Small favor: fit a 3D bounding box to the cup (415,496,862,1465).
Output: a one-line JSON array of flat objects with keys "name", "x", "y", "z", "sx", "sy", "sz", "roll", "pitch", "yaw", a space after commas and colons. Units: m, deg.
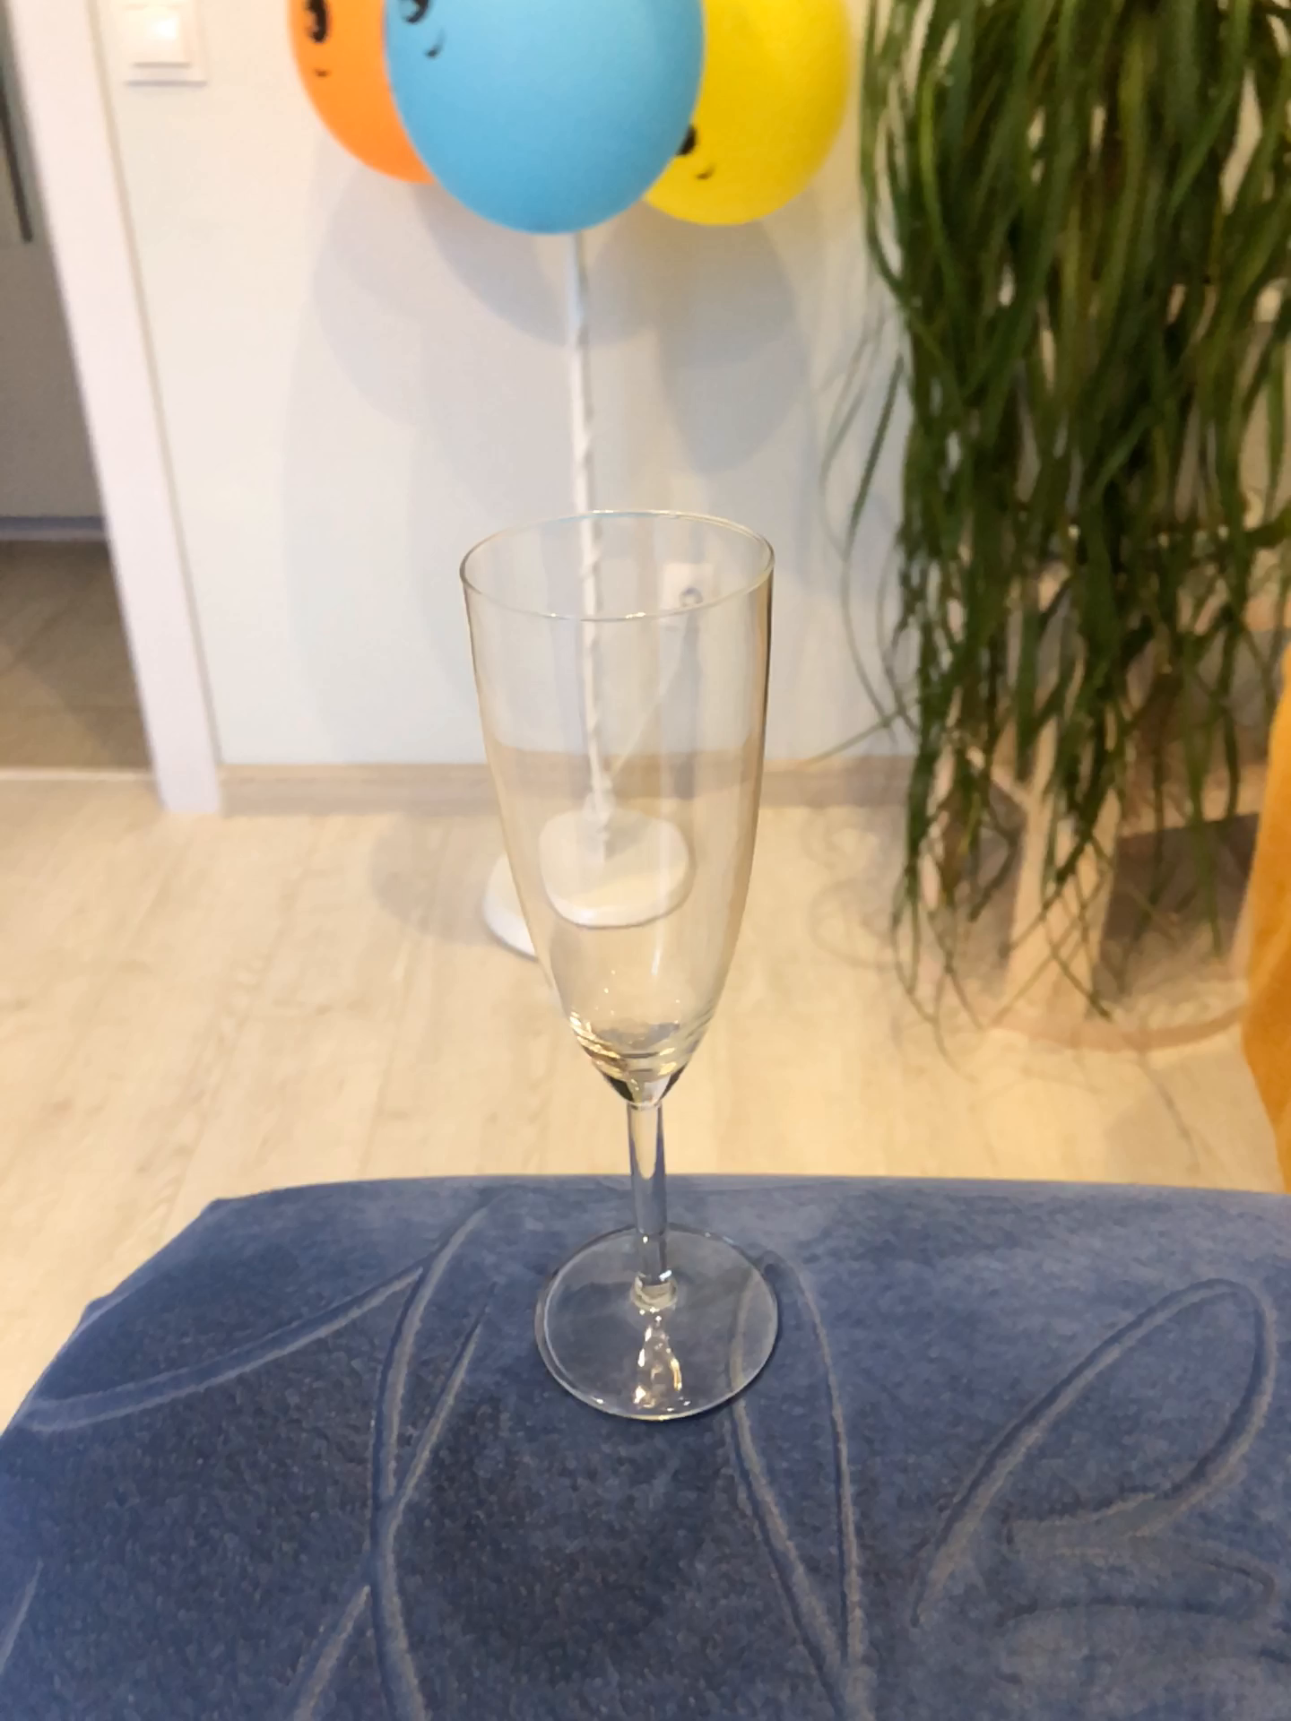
[{"name": "cup", "x": 0.002, "y": 0.034, "z": 0.328, "sx": 0.076, "sy": 0.214, "sz": 0.072, "roll": 0, "pitch": 31, "yaw": 0}]
